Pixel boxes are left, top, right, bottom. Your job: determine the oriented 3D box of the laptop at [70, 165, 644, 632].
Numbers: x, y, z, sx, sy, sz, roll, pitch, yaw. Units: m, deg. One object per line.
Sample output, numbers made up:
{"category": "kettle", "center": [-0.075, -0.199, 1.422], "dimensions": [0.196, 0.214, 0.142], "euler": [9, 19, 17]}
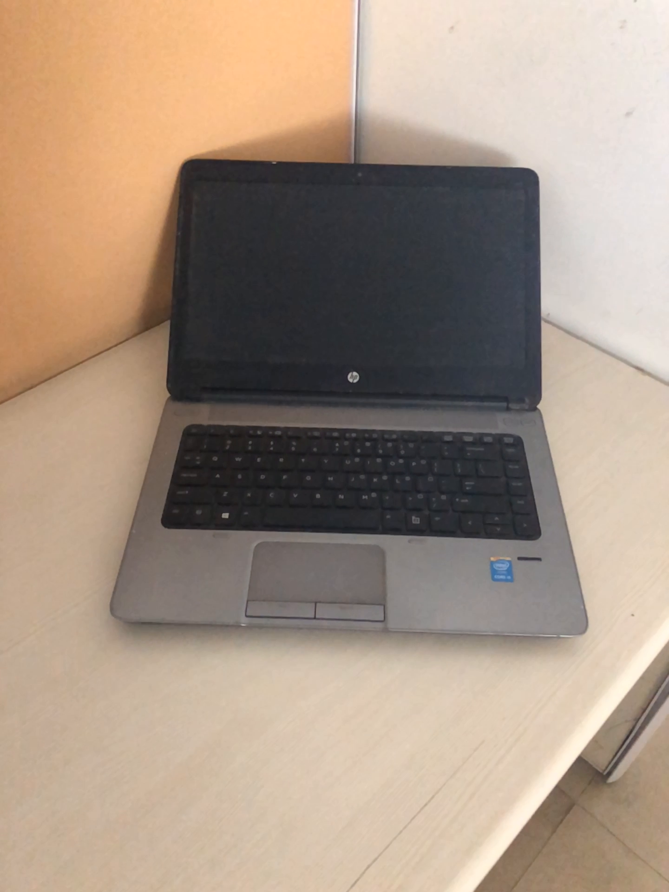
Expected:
{"category": "laptop", "center": [0.019, -0.068, 0.582], "dimensions": [0.316, 0.125, 0.393], "euler": [2, 46, 1]}
